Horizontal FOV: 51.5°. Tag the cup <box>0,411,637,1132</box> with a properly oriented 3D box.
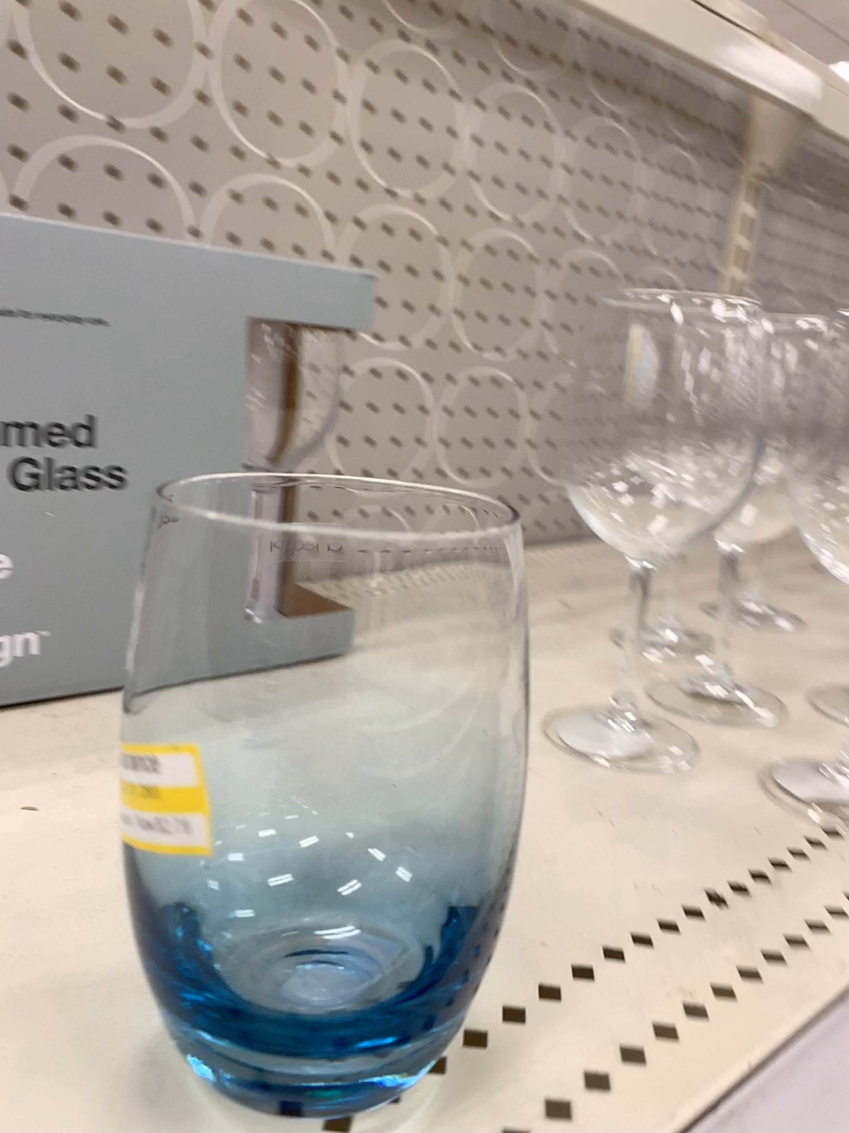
[{"bbox_3d":[-0.018,0.034,0.182,0.090,0.120,0.090,5,13,-1],"label":"cup"}]
